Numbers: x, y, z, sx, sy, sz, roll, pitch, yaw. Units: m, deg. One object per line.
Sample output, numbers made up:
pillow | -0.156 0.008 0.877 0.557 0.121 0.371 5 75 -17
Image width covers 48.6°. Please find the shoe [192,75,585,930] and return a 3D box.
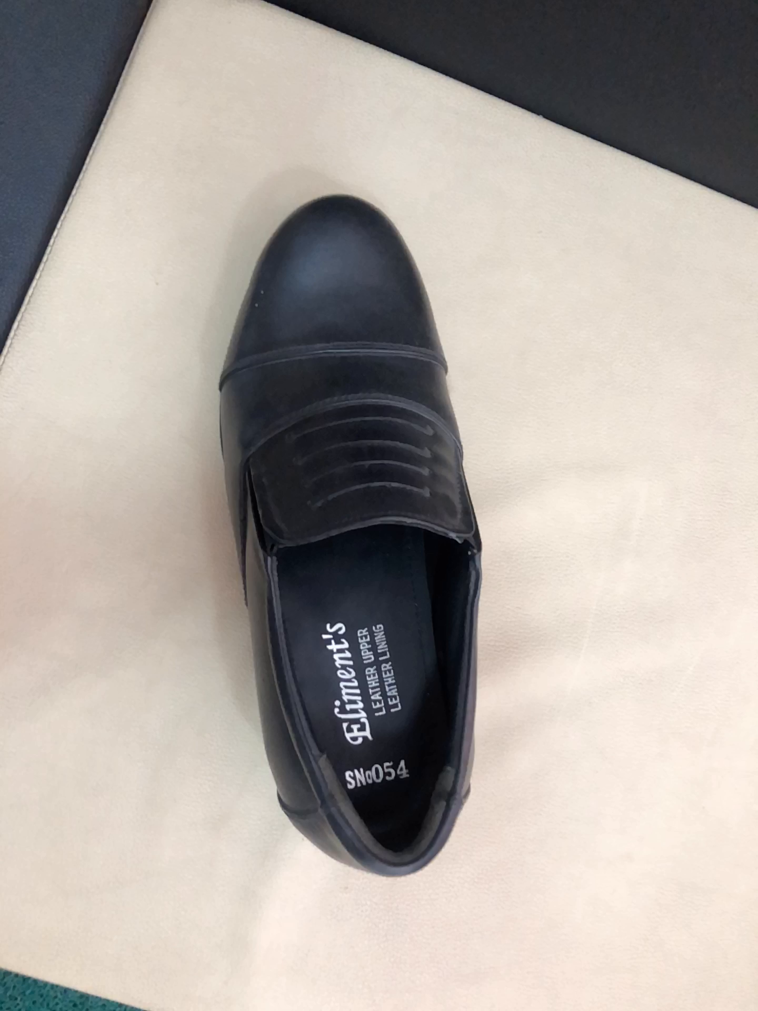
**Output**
shoe | -0.005 -0.004 0.333 0.100 0.120 0.270 -6 87 -8
